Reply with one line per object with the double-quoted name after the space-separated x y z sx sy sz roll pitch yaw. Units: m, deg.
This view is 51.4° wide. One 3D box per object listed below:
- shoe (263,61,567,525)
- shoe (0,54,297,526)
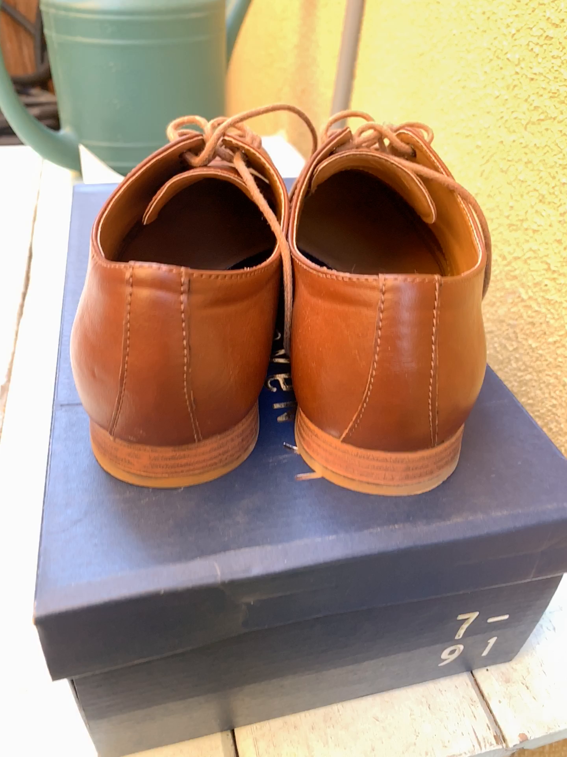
0.053 -0.080 0.314 0.110 0.099 0.303 3 38 -1 "shoe"
-0.049 -0.081 0.308 0.104 0.099 0.303 3 38 -1 "shoe"
